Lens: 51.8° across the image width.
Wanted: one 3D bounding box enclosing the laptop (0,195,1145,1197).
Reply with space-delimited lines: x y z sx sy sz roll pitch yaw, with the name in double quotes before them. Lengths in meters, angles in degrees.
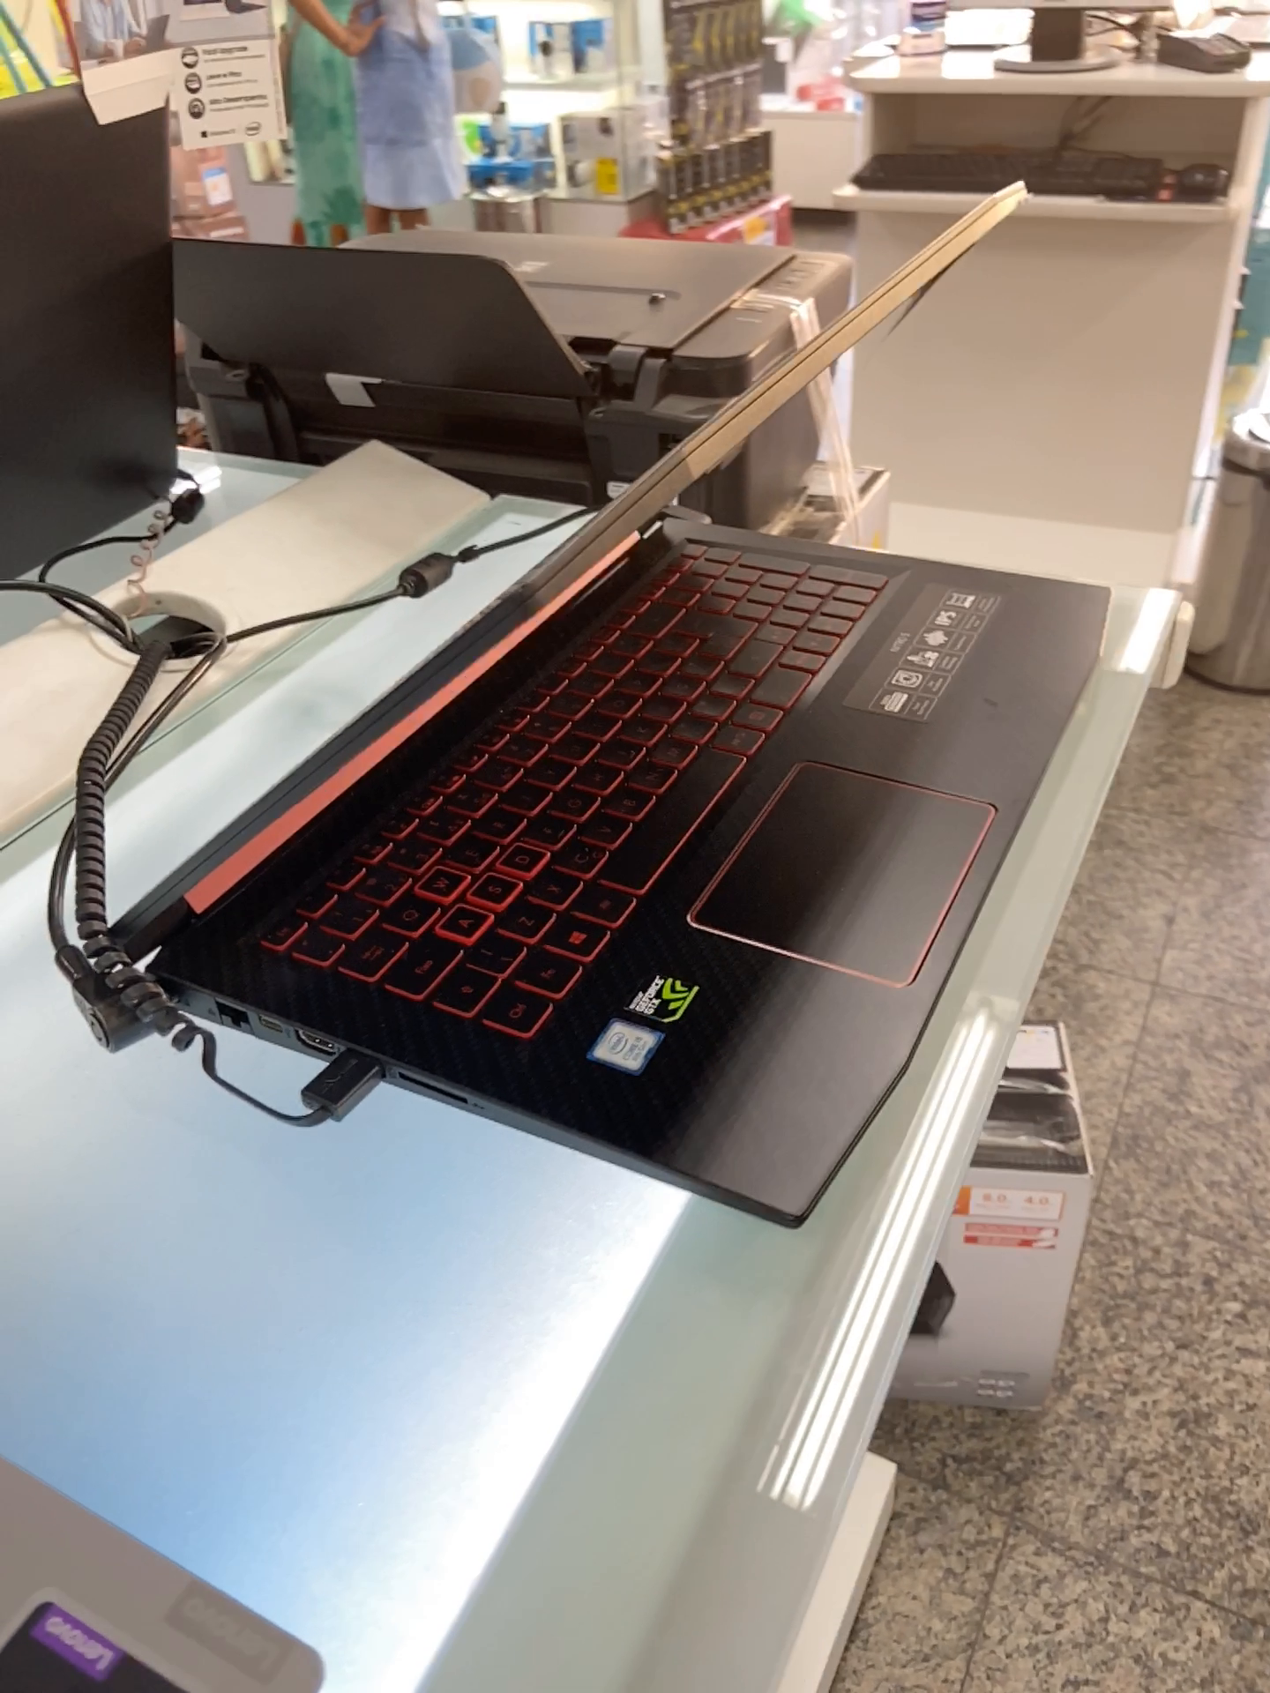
"laptop" 0.016 -0.106 0.476 0.234 0.163 0.382 14 40 24
